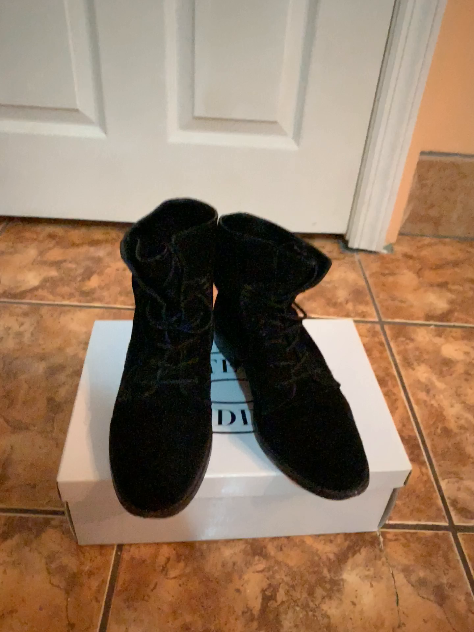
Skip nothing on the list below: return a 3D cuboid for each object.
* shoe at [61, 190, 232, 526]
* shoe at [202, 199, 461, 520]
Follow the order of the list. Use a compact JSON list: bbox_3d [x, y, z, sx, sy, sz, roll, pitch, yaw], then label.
[{"bbox_3d":[-0.056,0.017,0.421,0.094,0.152,0.259,3,36,-2],"label":"shoe"},{"bbox_3d":[0.054,0.016,0.451,0.107,0.142,0.269,-7,38,-16],"label":"shoe"}]
